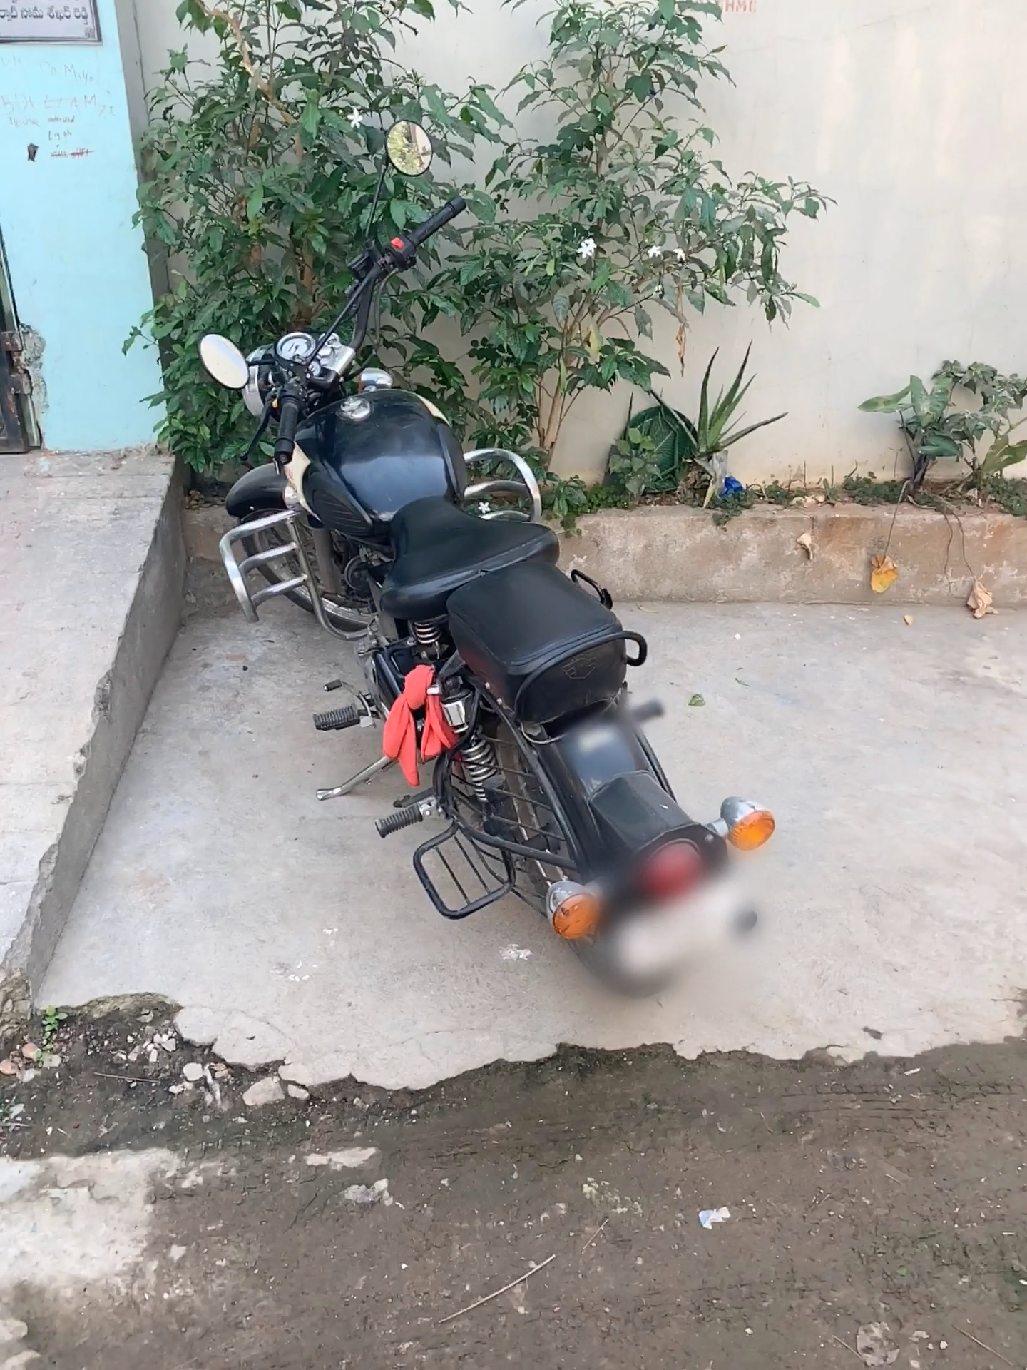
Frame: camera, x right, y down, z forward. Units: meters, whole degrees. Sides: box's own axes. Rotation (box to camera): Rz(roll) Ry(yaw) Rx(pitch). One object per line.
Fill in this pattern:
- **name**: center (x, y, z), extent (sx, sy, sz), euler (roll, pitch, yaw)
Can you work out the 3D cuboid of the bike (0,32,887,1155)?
- **bike**: center (-0.318, -0.415, 2.113), extent (0.746, 1.339, 1.793), euler (-16, 36, -30)
